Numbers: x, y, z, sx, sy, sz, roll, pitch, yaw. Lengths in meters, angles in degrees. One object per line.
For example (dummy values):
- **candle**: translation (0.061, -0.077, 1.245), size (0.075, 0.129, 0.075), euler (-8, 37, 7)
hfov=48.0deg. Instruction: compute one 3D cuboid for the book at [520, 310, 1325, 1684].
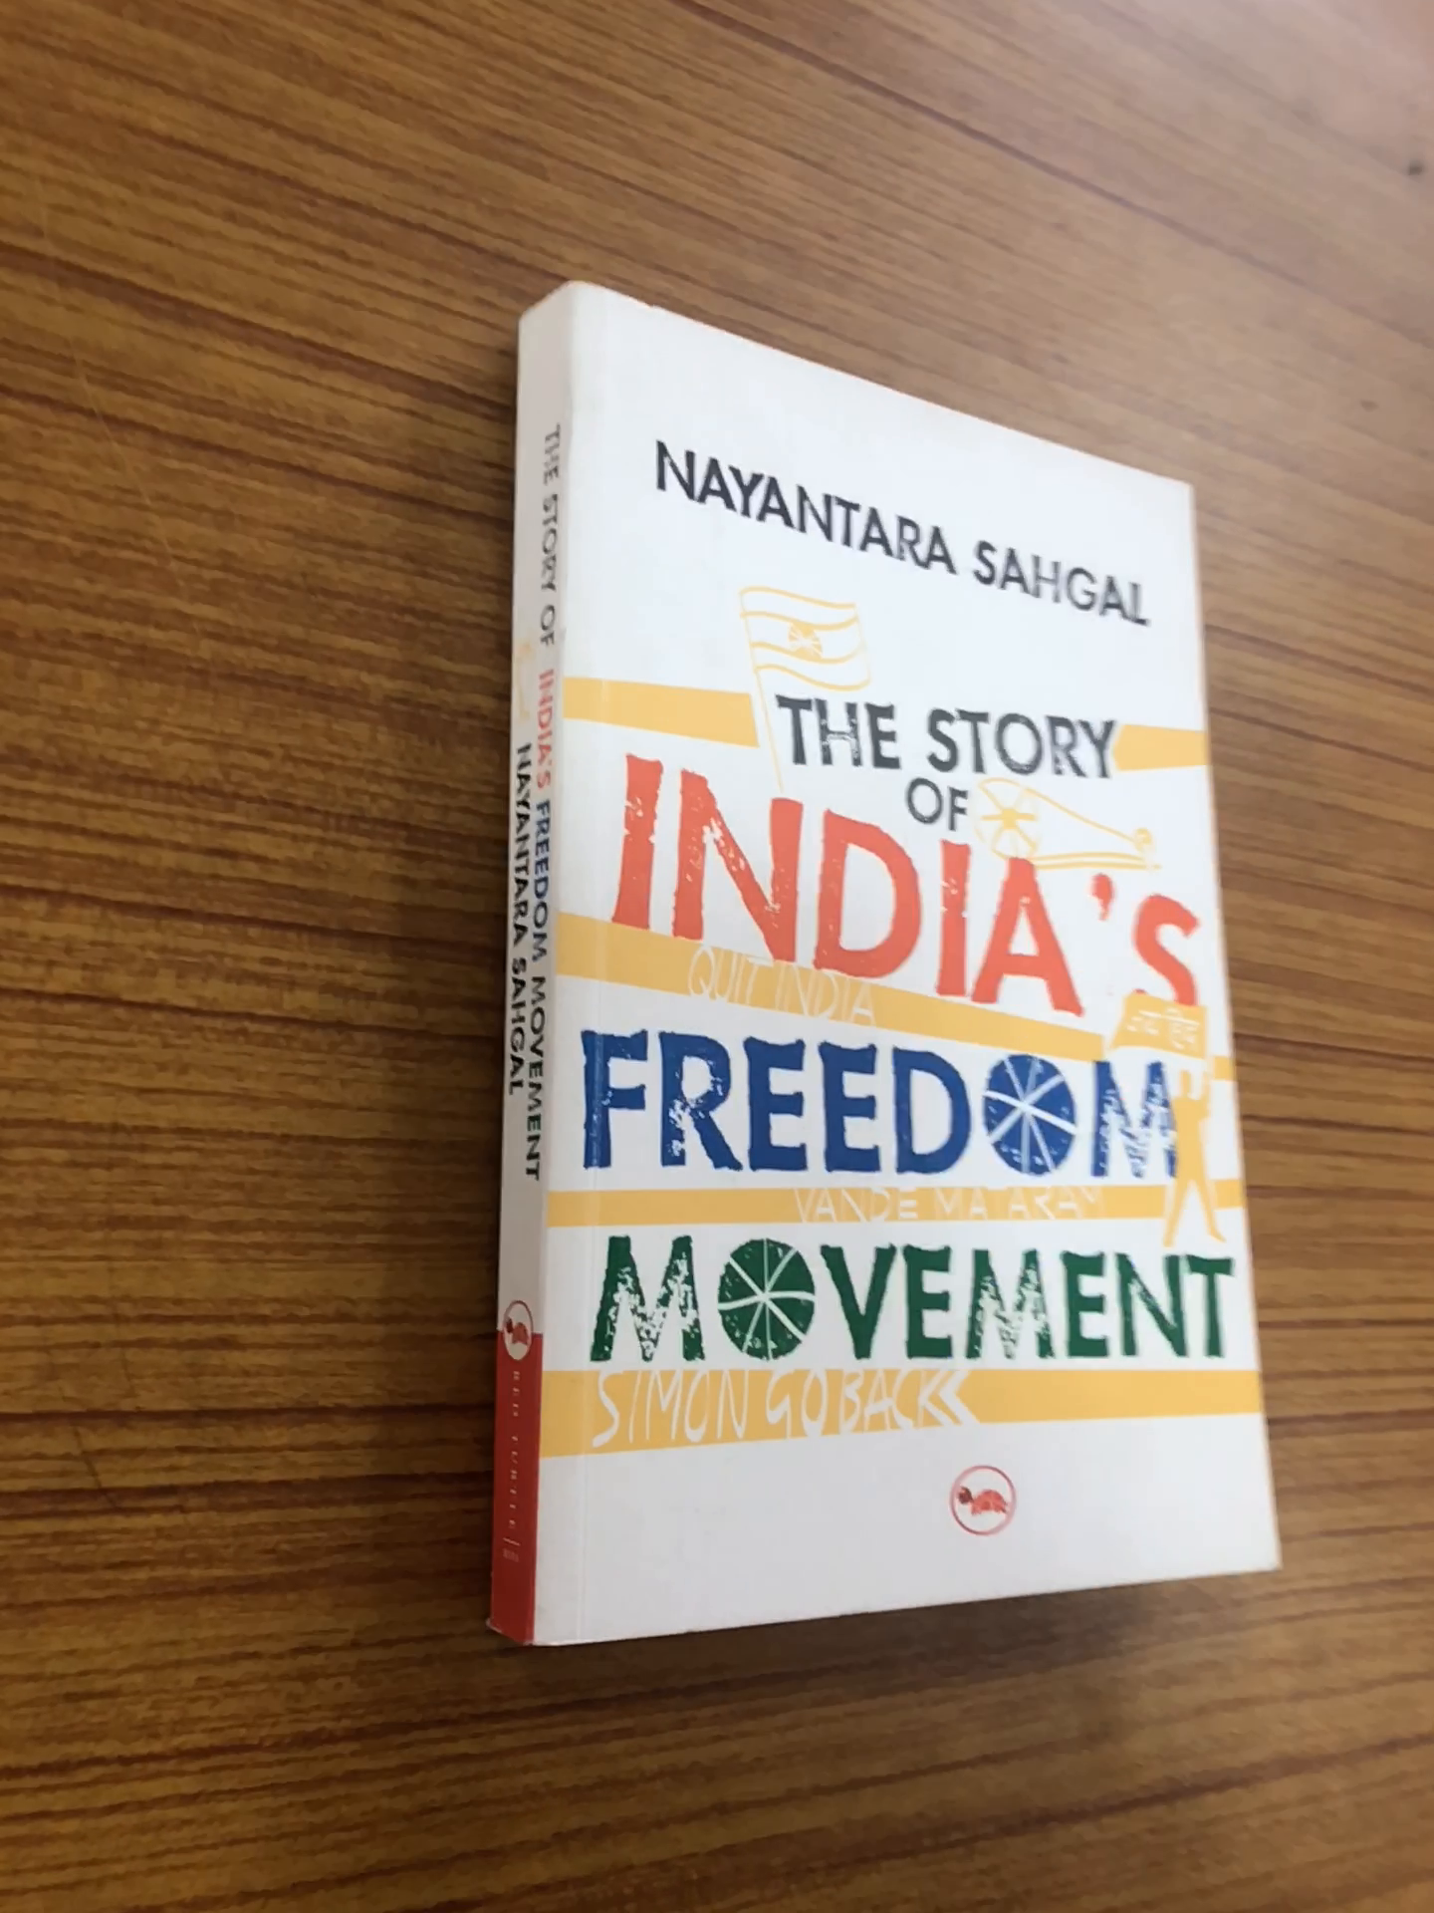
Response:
- **book**: translation (0.036, 0.007, 0.264), size (0.130, 0.030, 0.190), euler (7, 77, -30)
